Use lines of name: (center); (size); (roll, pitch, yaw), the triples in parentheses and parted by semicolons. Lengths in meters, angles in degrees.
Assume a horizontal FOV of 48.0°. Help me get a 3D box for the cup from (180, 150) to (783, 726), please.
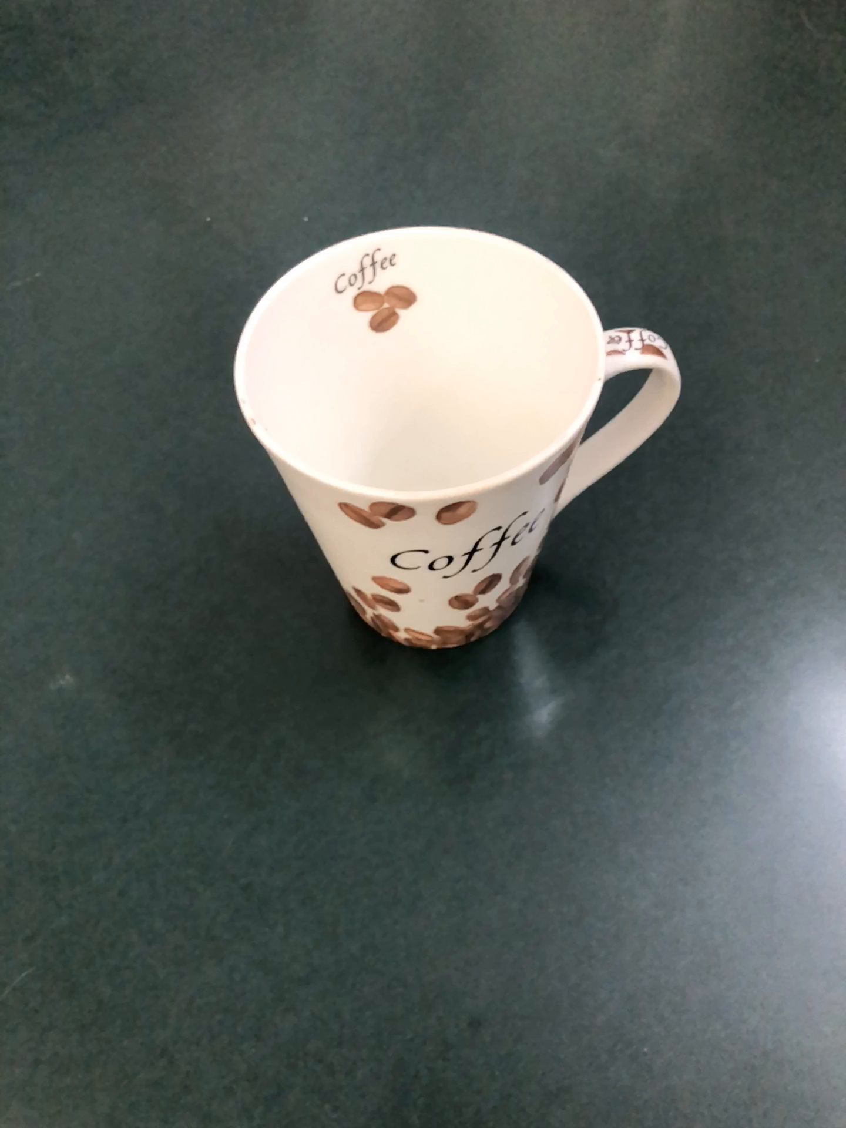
cup: (0.010, -0.033, 0.262); (0.120, 0.090, 0.100); (-13, 58, -4)
